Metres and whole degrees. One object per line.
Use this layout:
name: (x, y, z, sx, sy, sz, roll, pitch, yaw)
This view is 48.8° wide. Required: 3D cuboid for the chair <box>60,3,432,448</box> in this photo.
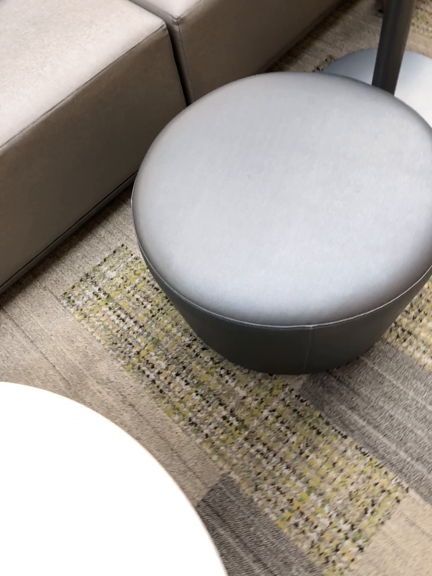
chair: (0.159, -0.130, 1.030, 0.620, 0.459, 0.571, -41, 64, -13)
